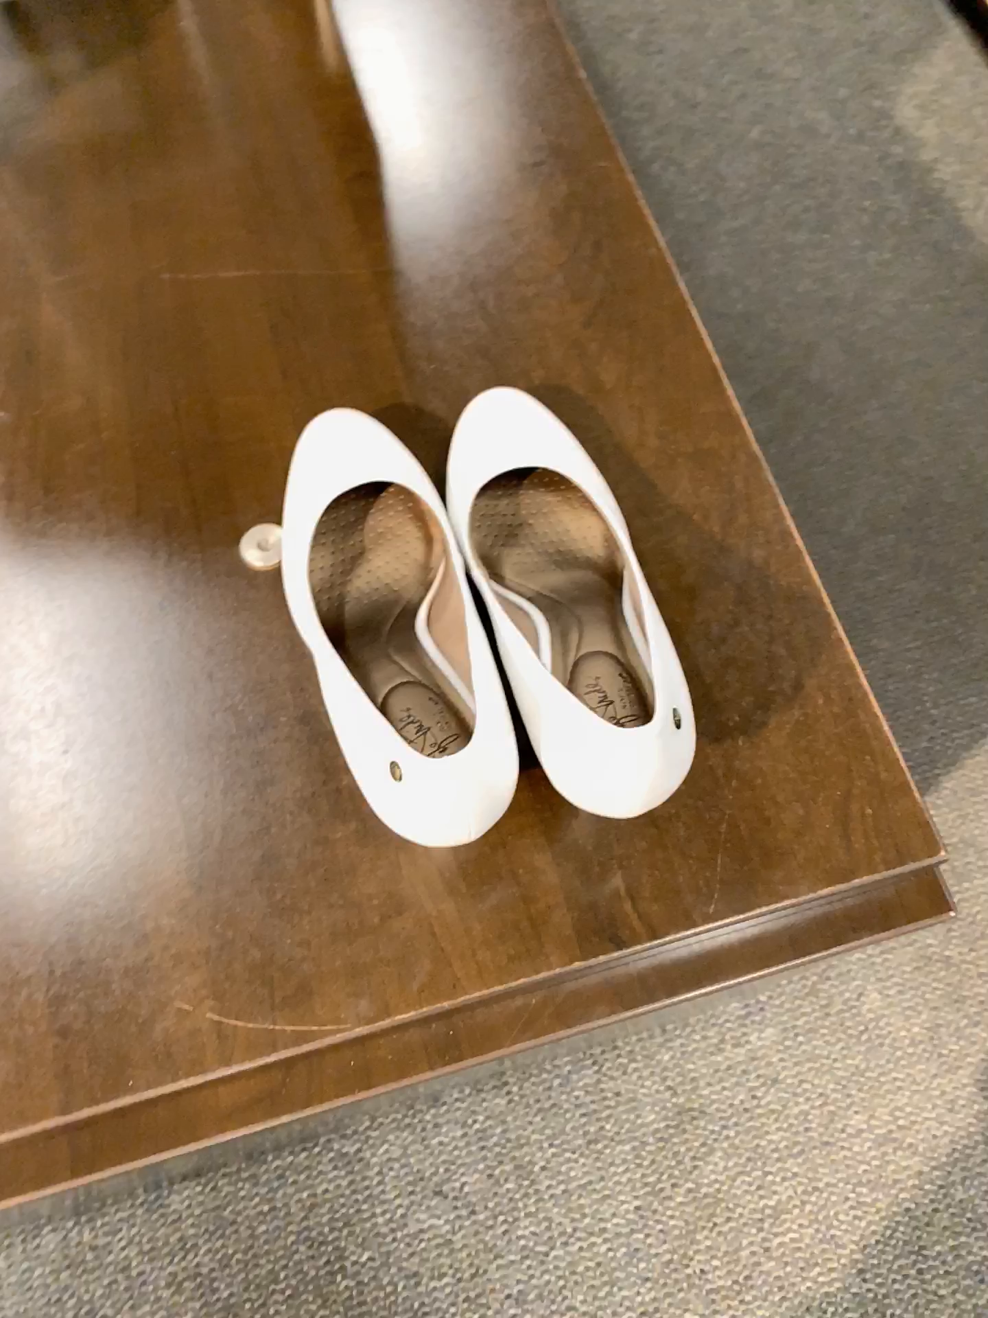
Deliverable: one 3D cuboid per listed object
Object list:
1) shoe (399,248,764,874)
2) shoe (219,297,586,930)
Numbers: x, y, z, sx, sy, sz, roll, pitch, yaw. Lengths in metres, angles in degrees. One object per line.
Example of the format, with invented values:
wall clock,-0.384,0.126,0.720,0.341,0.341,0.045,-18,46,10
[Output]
shoe,0.029,-0.047,0.479,0.090,0.110,0.260,-12,67,-5
shoe,-0.046,-0.022,0.477,0.090,0.110,0.260,-16,68,-6
